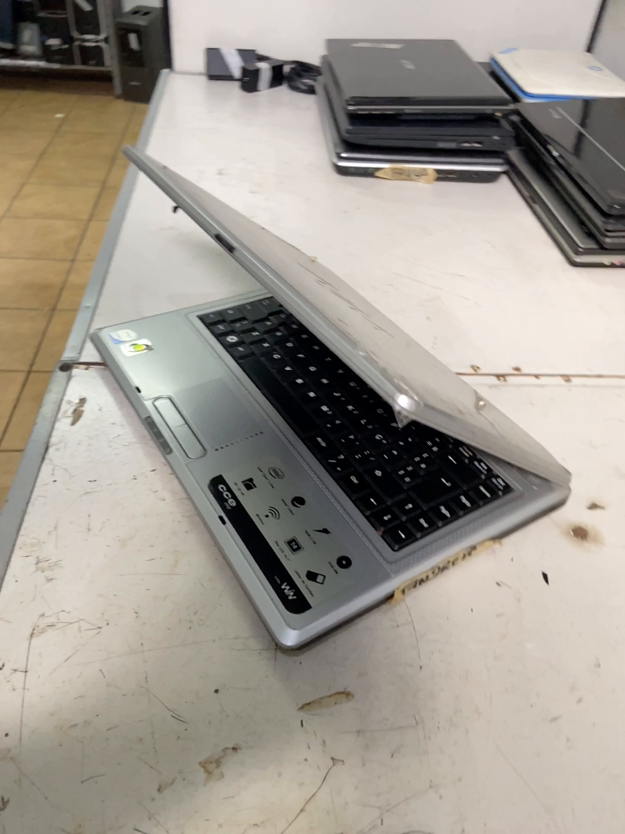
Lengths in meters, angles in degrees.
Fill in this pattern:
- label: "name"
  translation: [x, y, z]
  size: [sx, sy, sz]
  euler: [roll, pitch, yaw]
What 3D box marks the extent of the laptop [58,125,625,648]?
- label: "laptop"
  translation: [0.003, -0.065, 0.465]
  size: [0.243, 0.153, 0.336]
  euler: [-20, 47, -26]
